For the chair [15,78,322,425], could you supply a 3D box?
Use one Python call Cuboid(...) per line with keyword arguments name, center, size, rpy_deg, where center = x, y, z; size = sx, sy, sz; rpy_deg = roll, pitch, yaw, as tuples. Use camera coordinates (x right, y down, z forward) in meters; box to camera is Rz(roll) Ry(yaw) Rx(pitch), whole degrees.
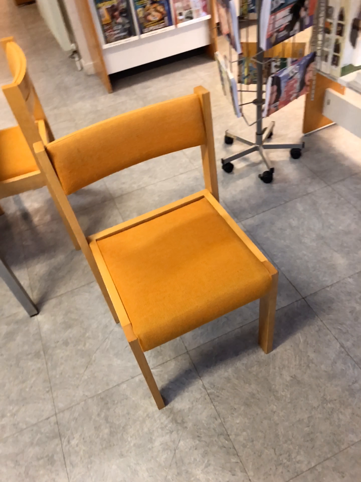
Cuboid(name="chair", center=(-0.029, 0.038, 1.151), size=(0.551, 0.696, 0.522), rpy_deg=(-23, 47, -12))
